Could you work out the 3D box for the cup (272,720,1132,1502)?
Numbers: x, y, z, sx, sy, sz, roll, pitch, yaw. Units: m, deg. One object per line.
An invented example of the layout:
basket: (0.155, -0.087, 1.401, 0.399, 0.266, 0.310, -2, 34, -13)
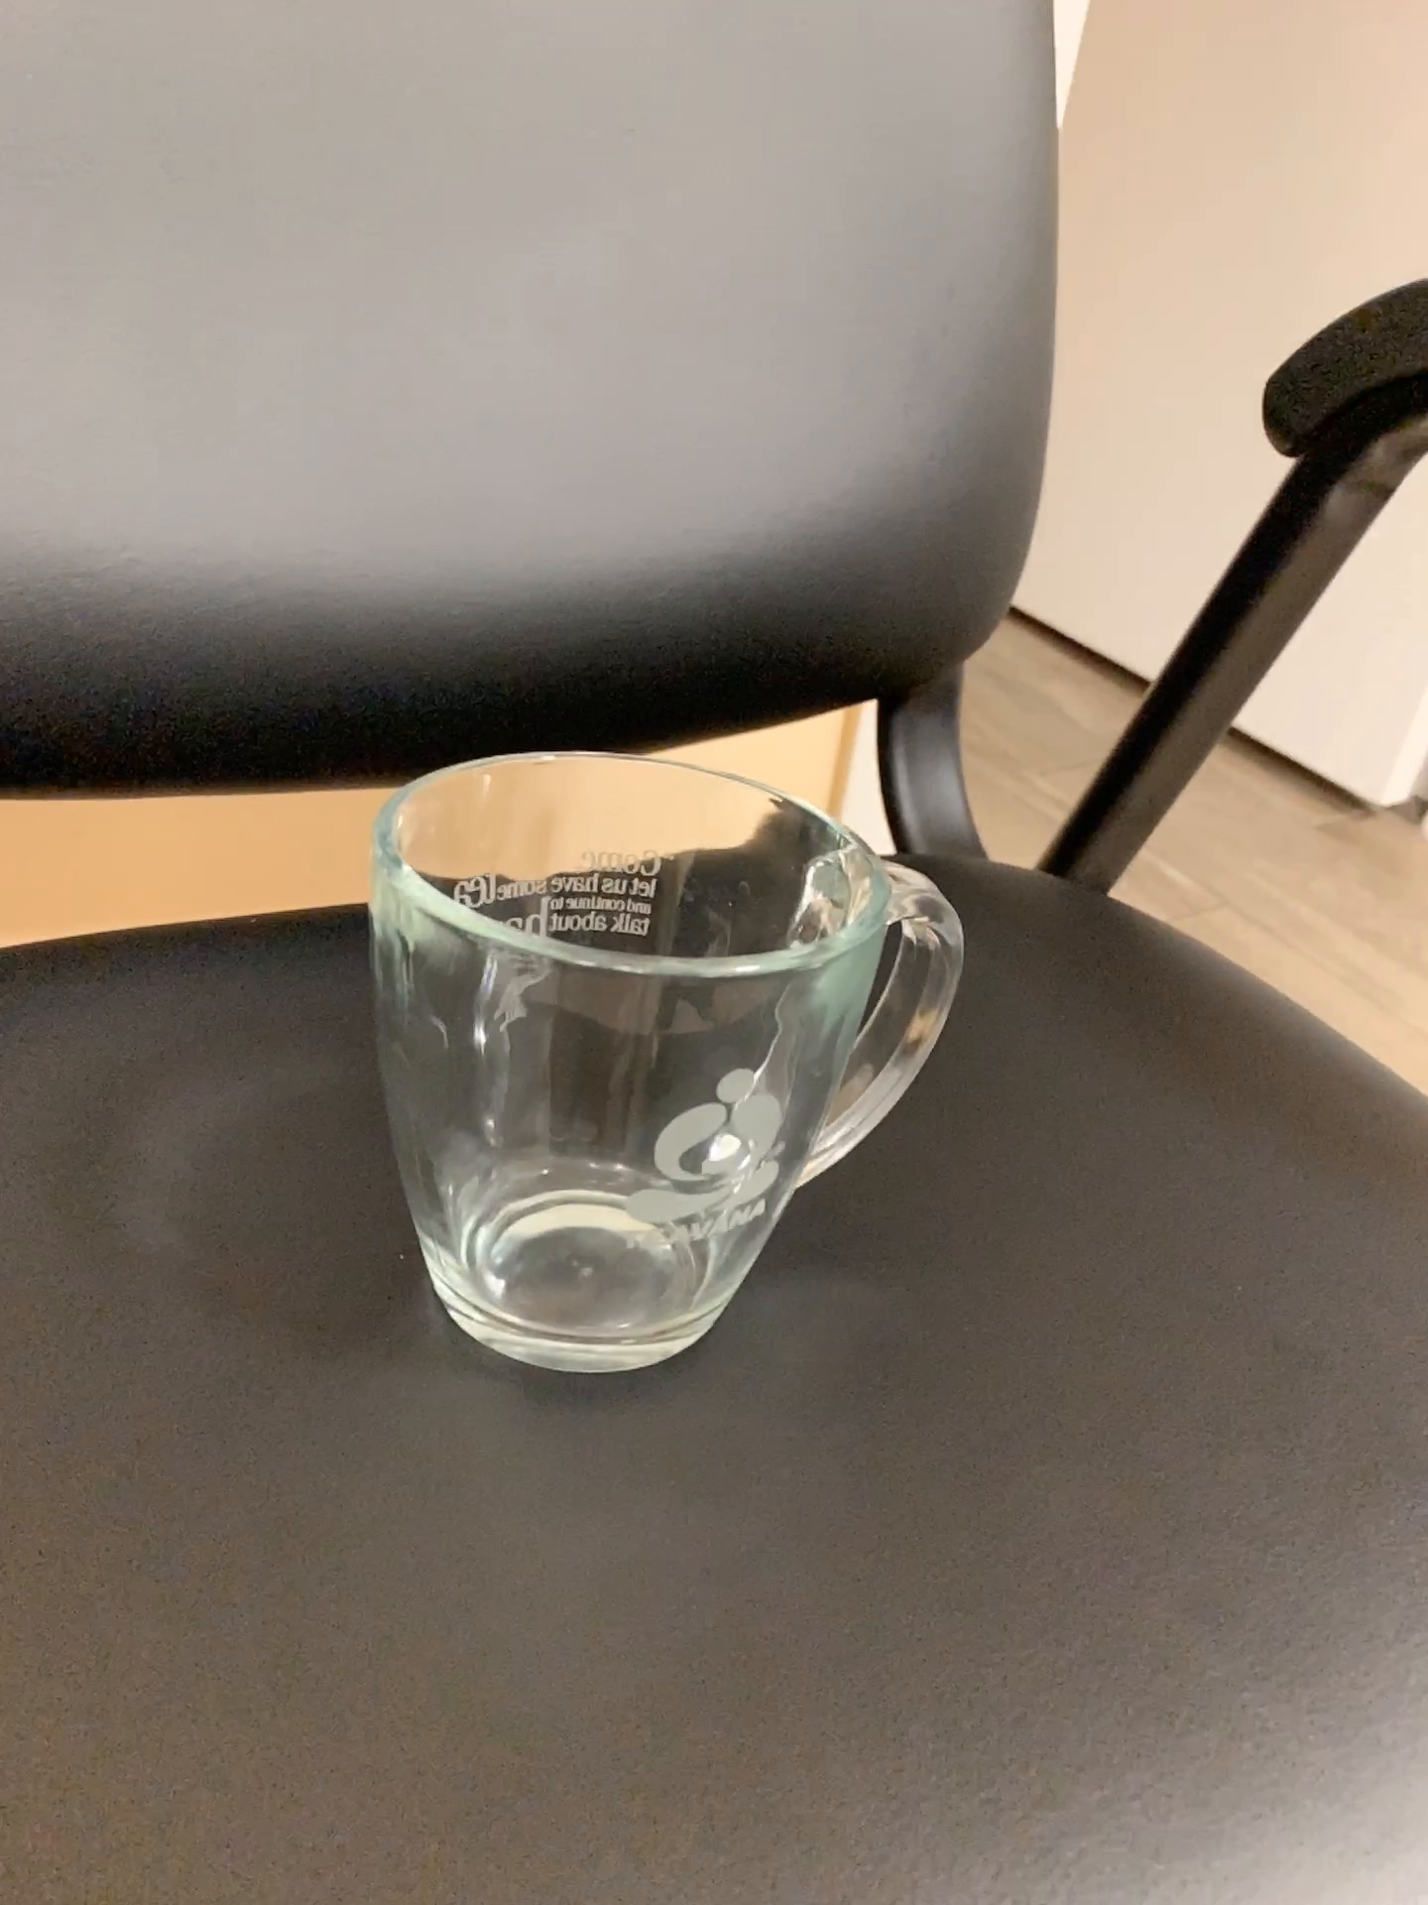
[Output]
cup: (-0.007, 0.020, 0.307, 0.140, 0.100, 0.096, -11, 32, -34)
